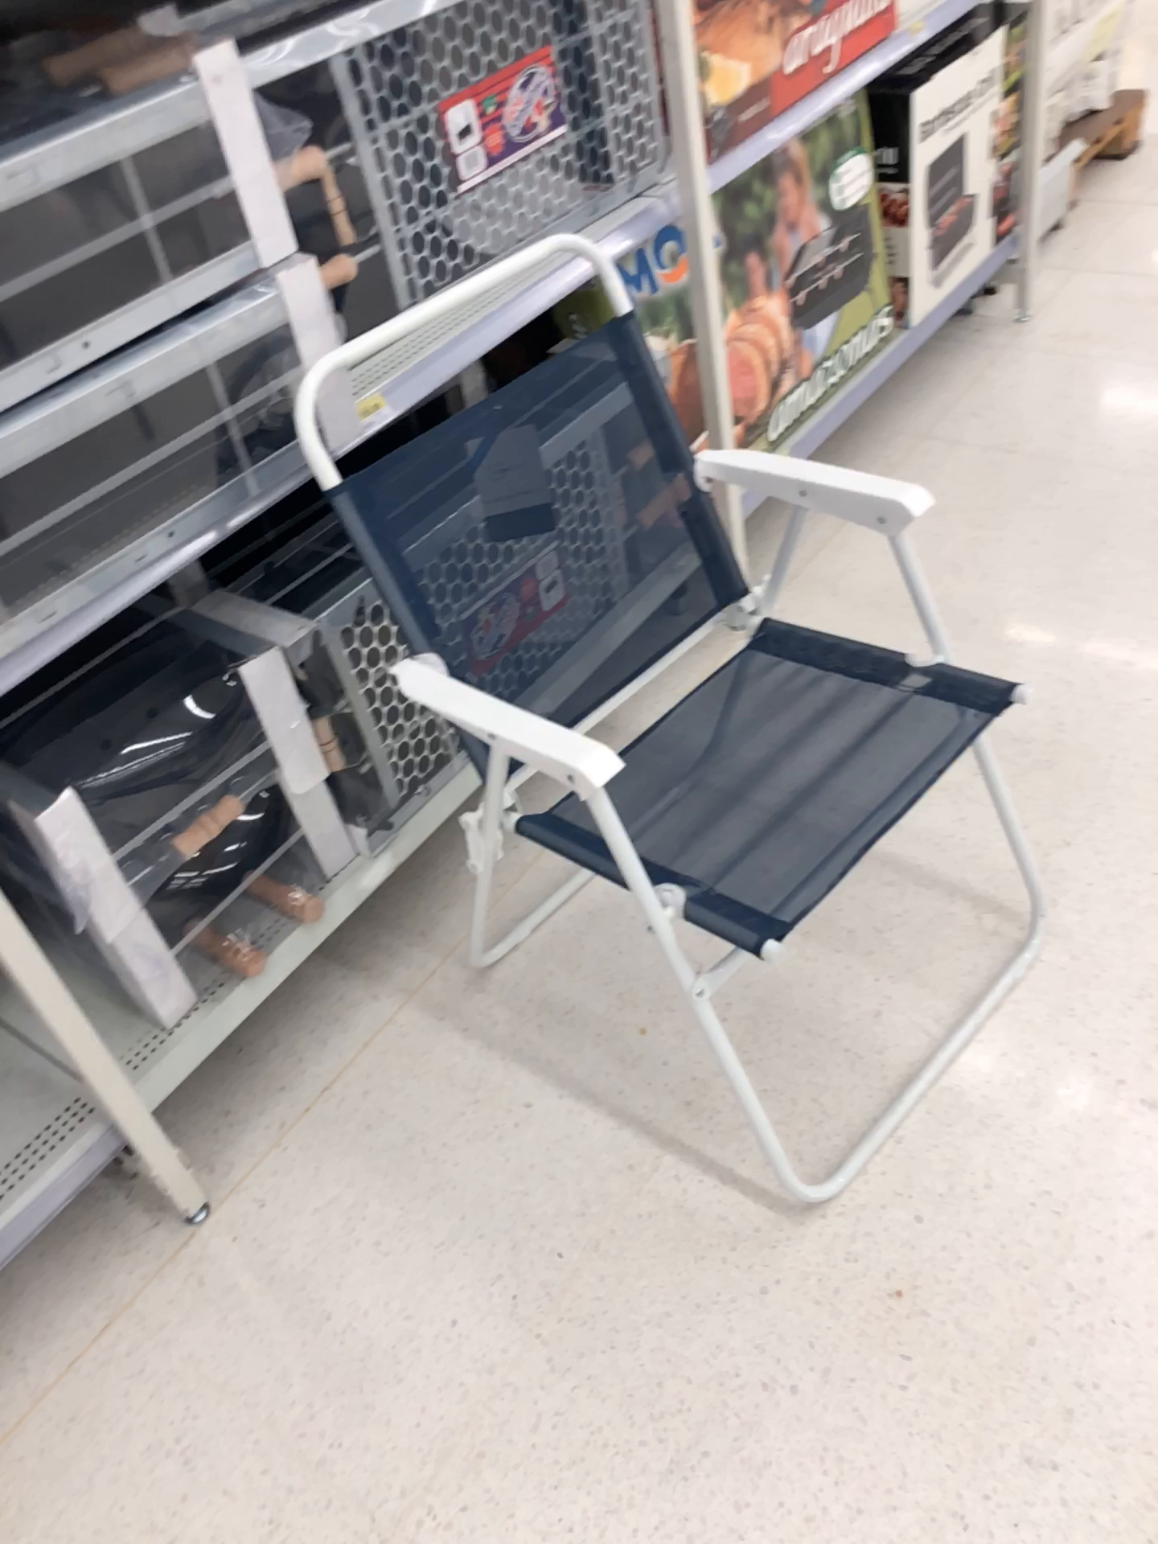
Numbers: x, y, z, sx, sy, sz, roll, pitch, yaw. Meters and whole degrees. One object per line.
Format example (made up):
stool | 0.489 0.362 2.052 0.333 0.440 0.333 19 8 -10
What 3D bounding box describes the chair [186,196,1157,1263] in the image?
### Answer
chair | 0.129 -0.079 1.294 0.653 0.735 0.542 27 54 37
